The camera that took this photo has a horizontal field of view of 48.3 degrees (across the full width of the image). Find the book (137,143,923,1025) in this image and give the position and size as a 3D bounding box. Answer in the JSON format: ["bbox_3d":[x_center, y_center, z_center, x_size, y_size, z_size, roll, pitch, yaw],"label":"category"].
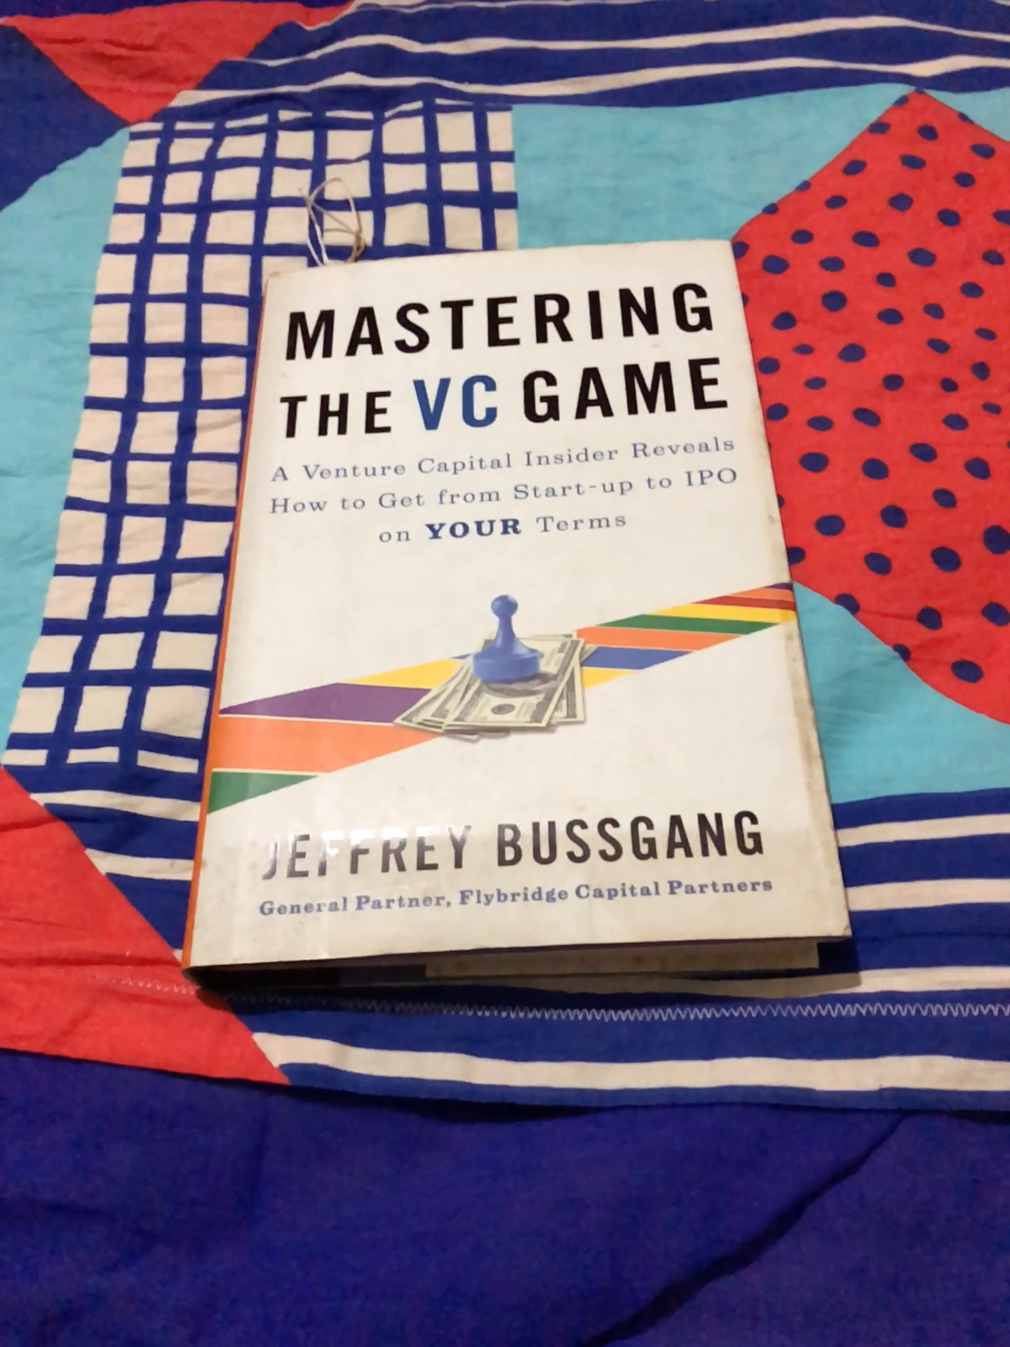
[{"bbox_3d":[0.003,-0.044,0.347,0.180,0.050,0.281,-3,61,3],"label":"book"}]
